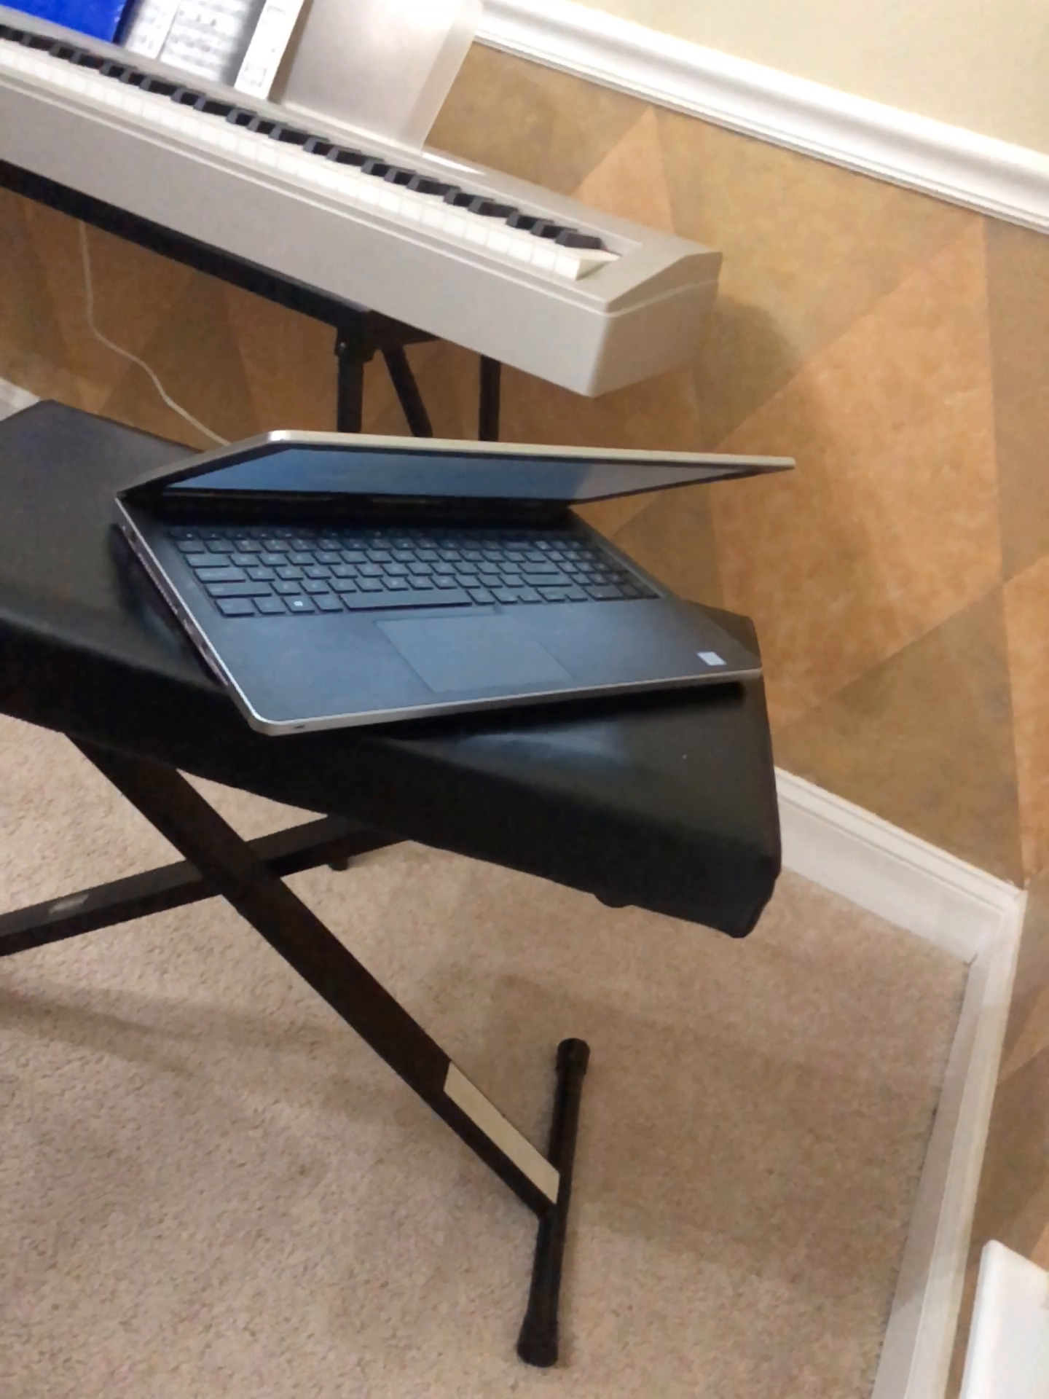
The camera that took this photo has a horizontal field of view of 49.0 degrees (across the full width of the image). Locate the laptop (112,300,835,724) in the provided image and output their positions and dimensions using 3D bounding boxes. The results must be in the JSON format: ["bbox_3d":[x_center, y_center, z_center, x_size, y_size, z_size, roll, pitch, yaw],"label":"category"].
[{"bbox_3d":[-0.034,-0.132,0.762,0.377,0.132,0.256,-7,39,-36],"label":"laptop"}]
